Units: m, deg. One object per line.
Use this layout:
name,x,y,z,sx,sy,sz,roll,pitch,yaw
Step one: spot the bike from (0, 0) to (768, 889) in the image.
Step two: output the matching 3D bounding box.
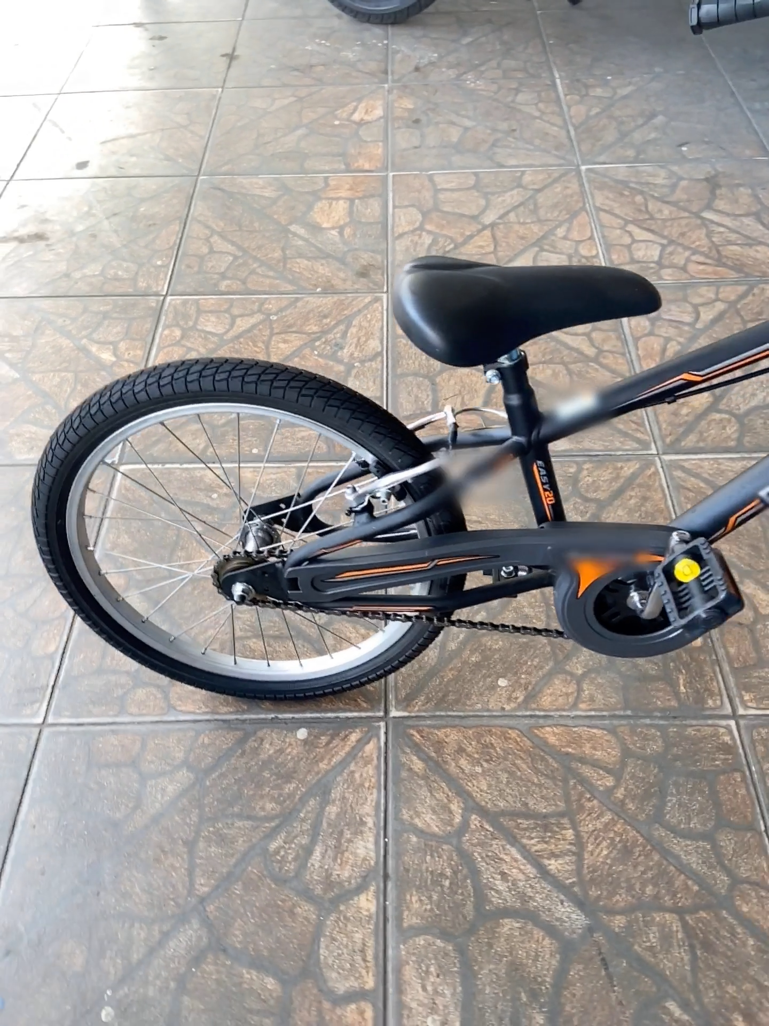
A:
bike,0.264,-0.198,0.840,1.350,0.979,0.726,-5,52,-4
